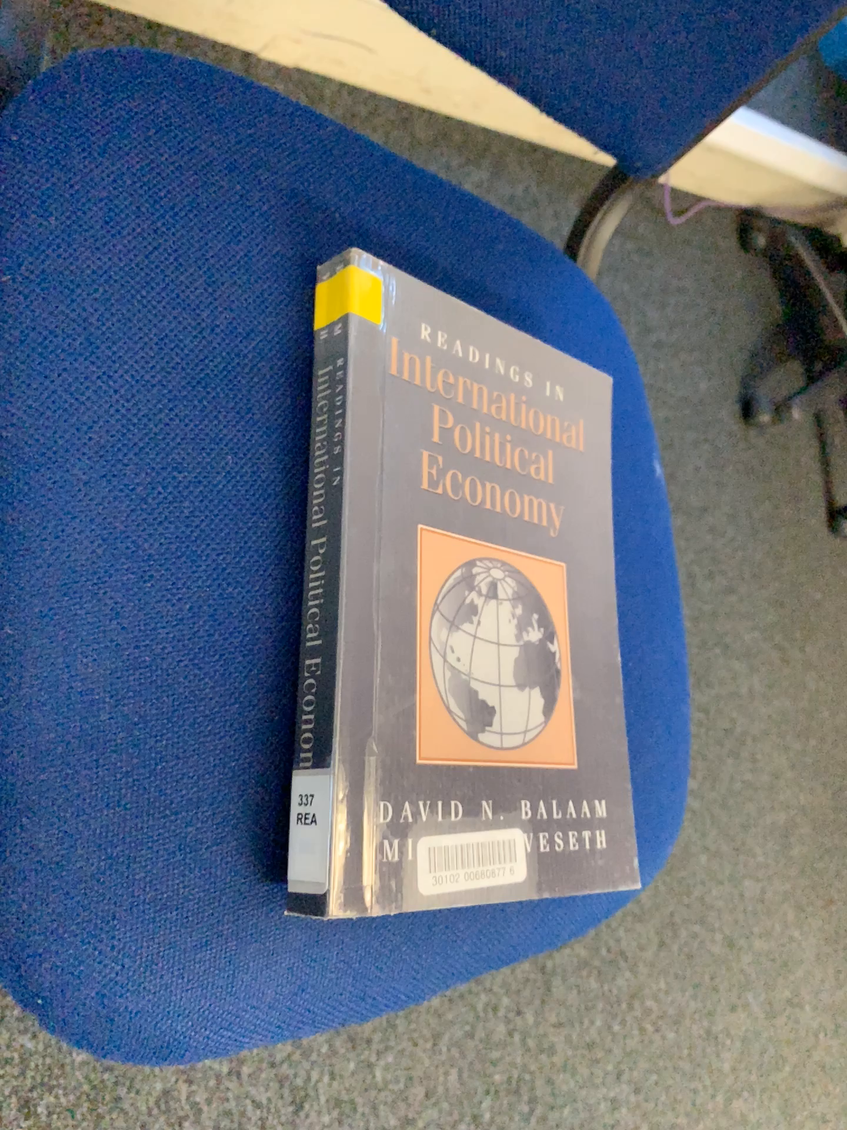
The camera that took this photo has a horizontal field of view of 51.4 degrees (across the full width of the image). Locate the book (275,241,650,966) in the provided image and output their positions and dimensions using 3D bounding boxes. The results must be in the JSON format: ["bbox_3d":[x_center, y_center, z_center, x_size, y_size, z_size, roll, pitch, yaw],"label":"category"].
[{"bbox_3d":[0.021,0.015,0.323,0.151,0.030,0.220,14,70,-42],"label":"book"}]
